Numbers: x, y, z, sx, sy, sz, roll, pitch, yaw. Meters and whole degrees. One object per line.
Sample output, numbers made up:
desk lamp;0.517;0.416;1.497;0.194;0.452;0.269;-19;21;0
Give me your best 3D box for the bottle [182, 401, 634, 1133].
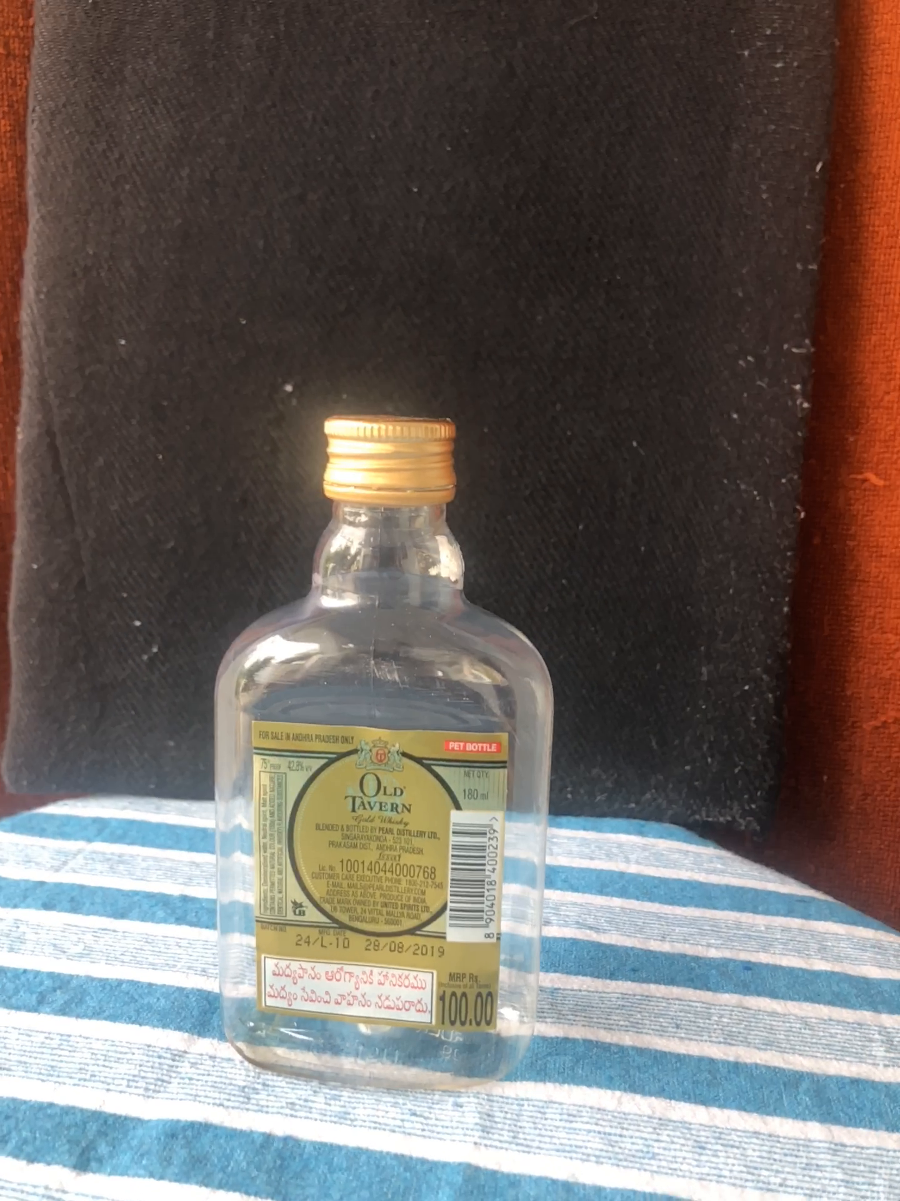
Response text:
bottle;-0.010;0.033;0.212;0.080;0.140;0.040;5;14;5
